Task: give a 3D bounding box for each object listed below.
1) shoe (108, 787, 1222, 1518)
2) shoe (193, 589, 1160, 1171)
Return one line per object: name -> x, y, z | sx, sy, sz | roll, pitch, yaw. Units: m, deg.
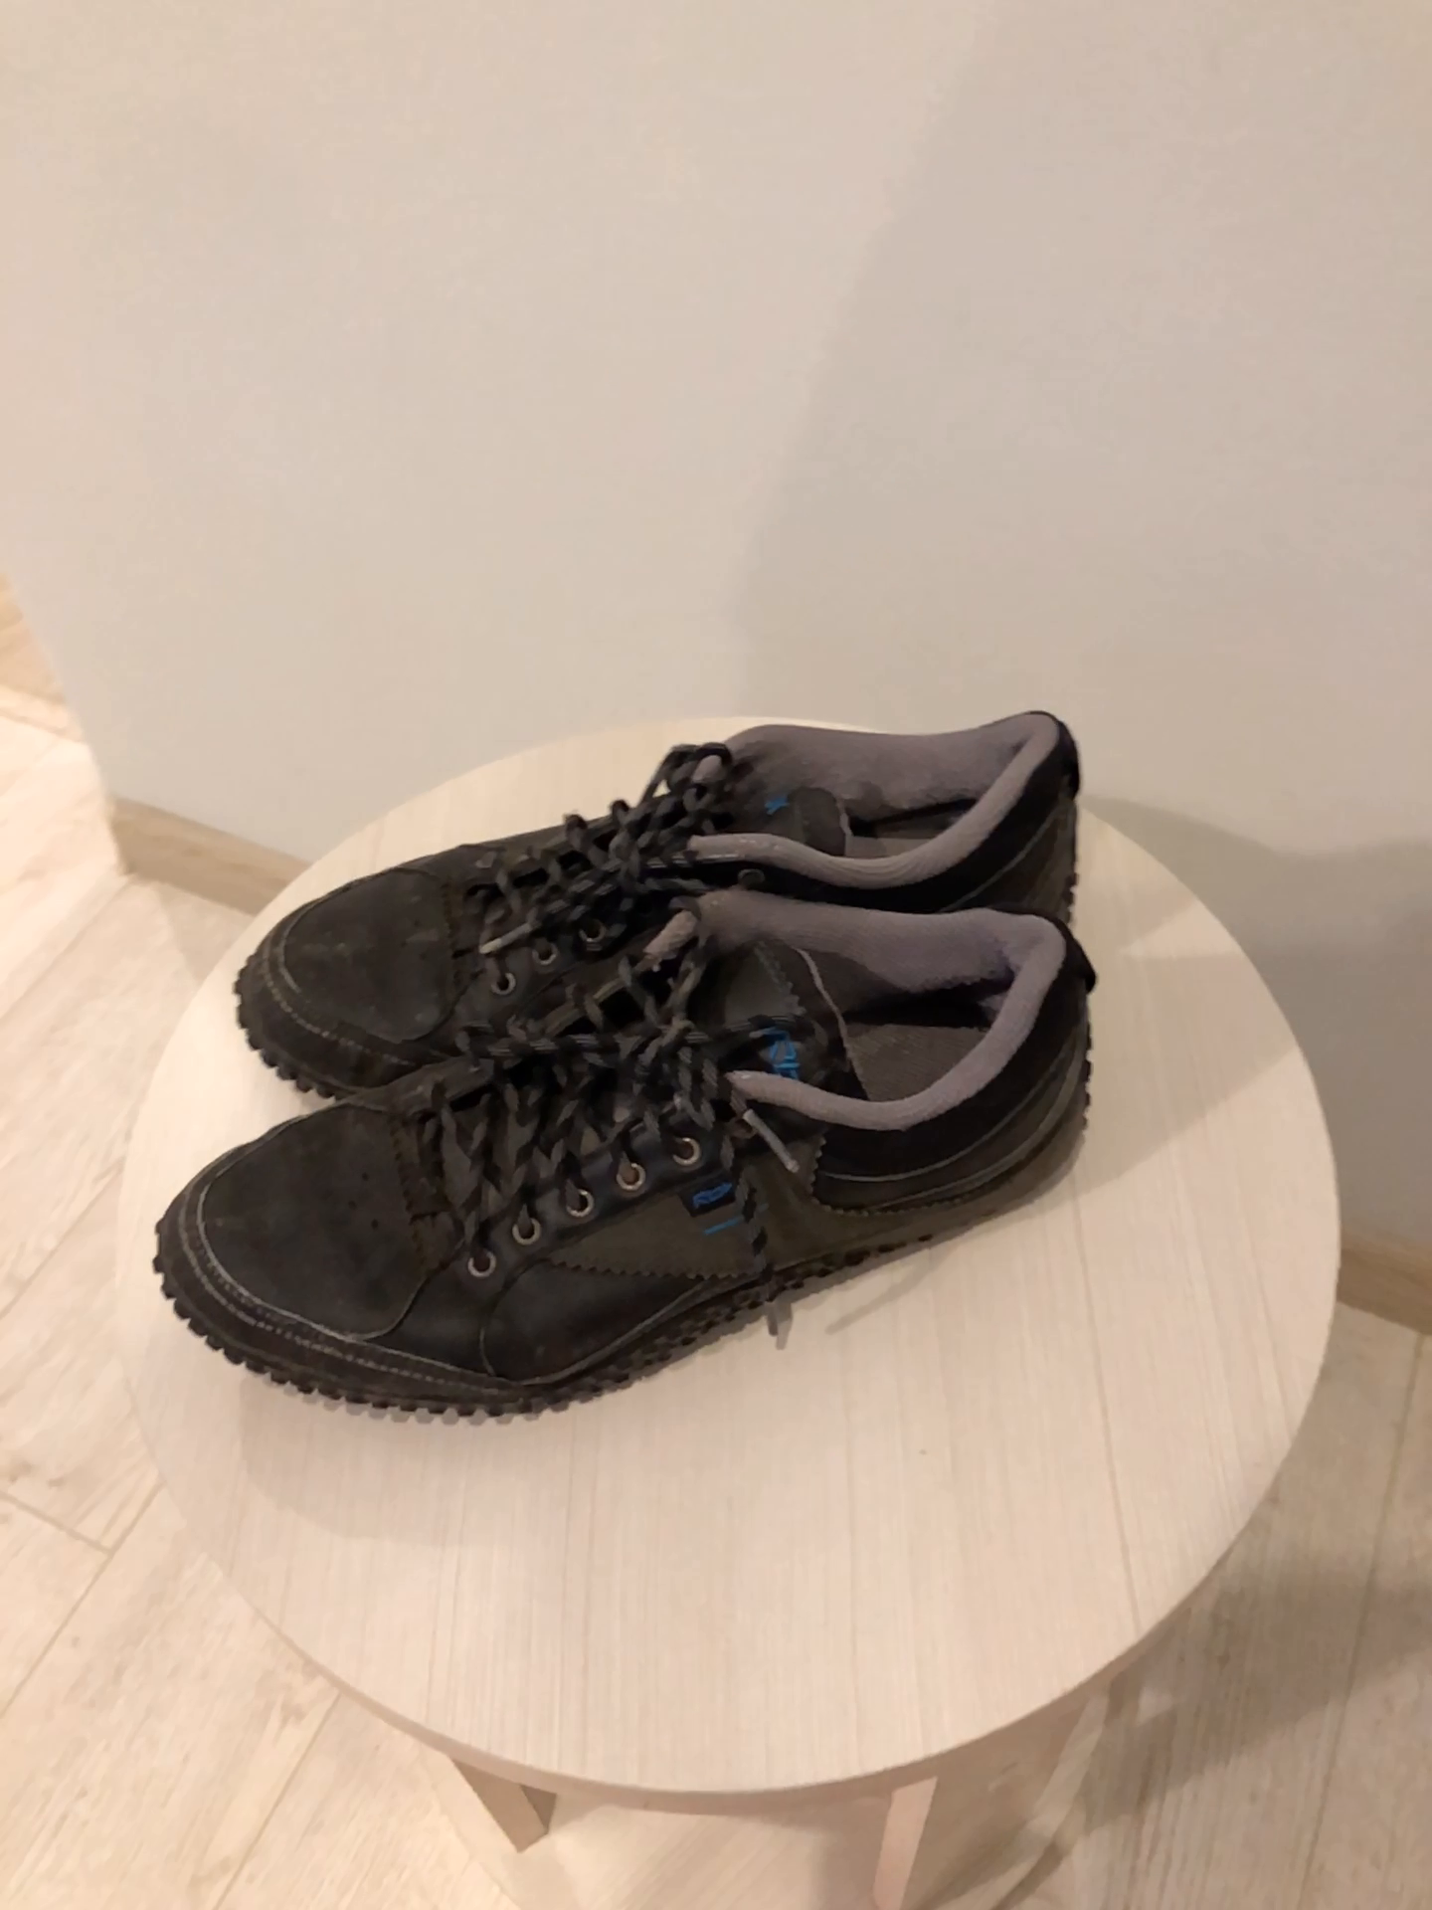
shoe -> -0.017, 0.053, 0.445 | 0.270, 0.099, 0.111 | -12, 51, -7
shoe -> -0.015, -0.025, 0.507 | 0.270, 0.099, 0.111 | -9, 51, -5
